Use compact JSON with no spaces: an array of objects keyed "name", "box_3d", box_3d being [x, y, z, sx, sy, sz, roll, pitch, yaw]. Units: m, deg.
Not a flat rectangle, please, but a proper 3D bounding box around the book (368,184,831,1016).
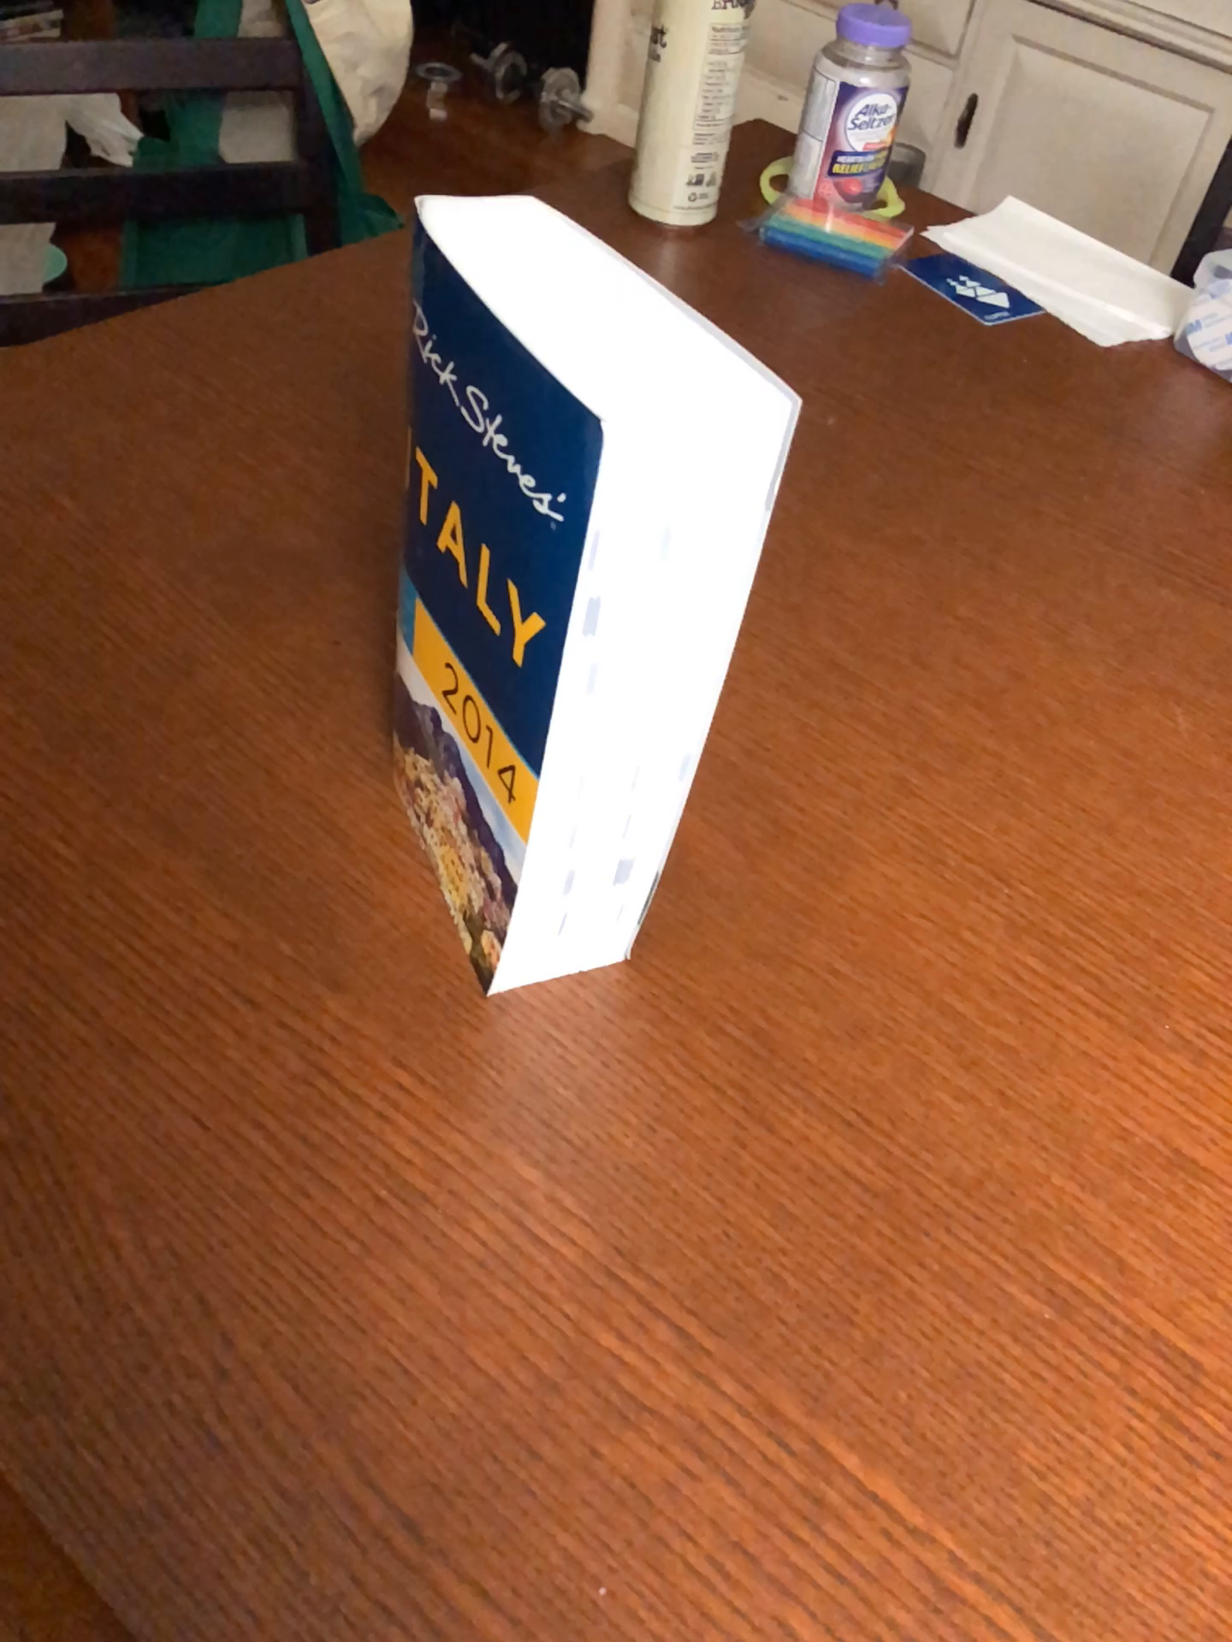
[{"name":"book","box_3d":[-0.021,-0.059,0.401,0.050,0.199,0.131,-12,49,-26]}]
